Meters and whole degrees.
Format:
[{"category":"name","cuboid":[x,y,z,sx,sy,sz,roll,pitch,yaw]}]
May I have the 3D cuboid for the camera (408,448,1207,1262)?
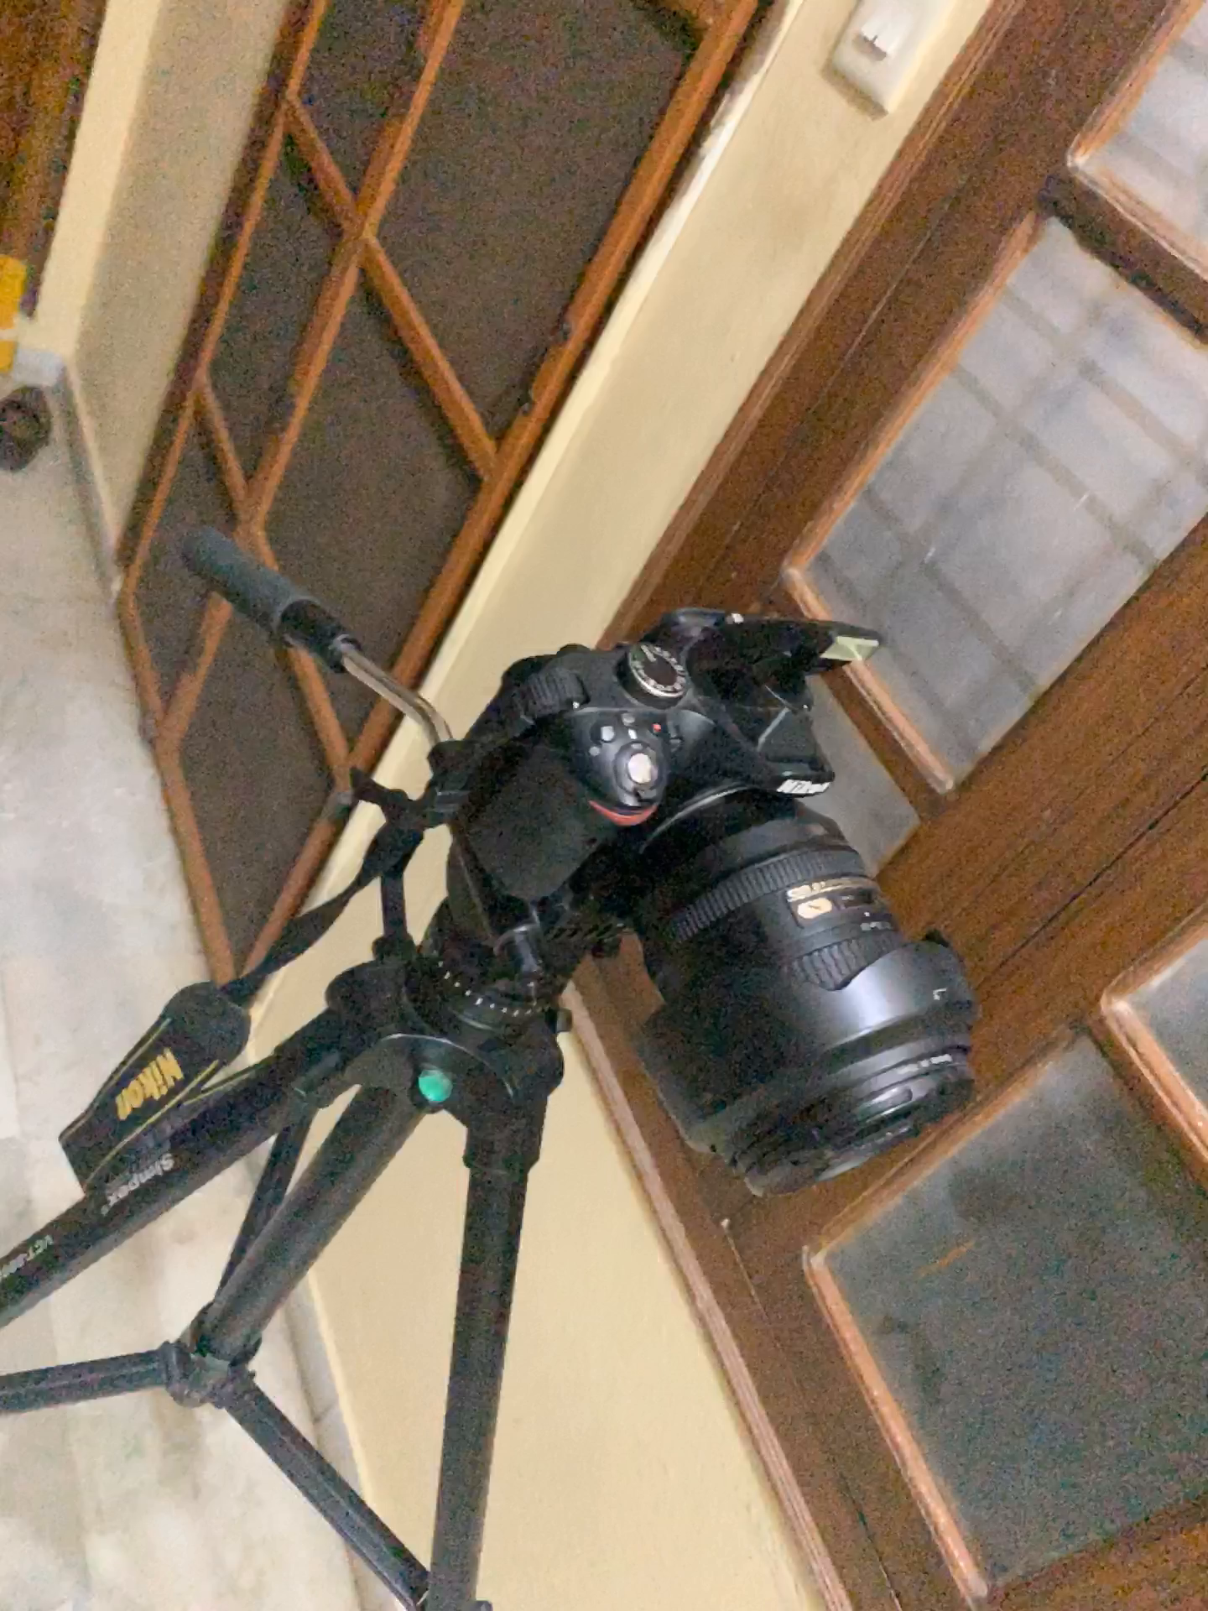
[{"category":"camera","cuboid":[0.061,0.008,0.408,0.150,0.129,0.200,-1,48,-39]}]
